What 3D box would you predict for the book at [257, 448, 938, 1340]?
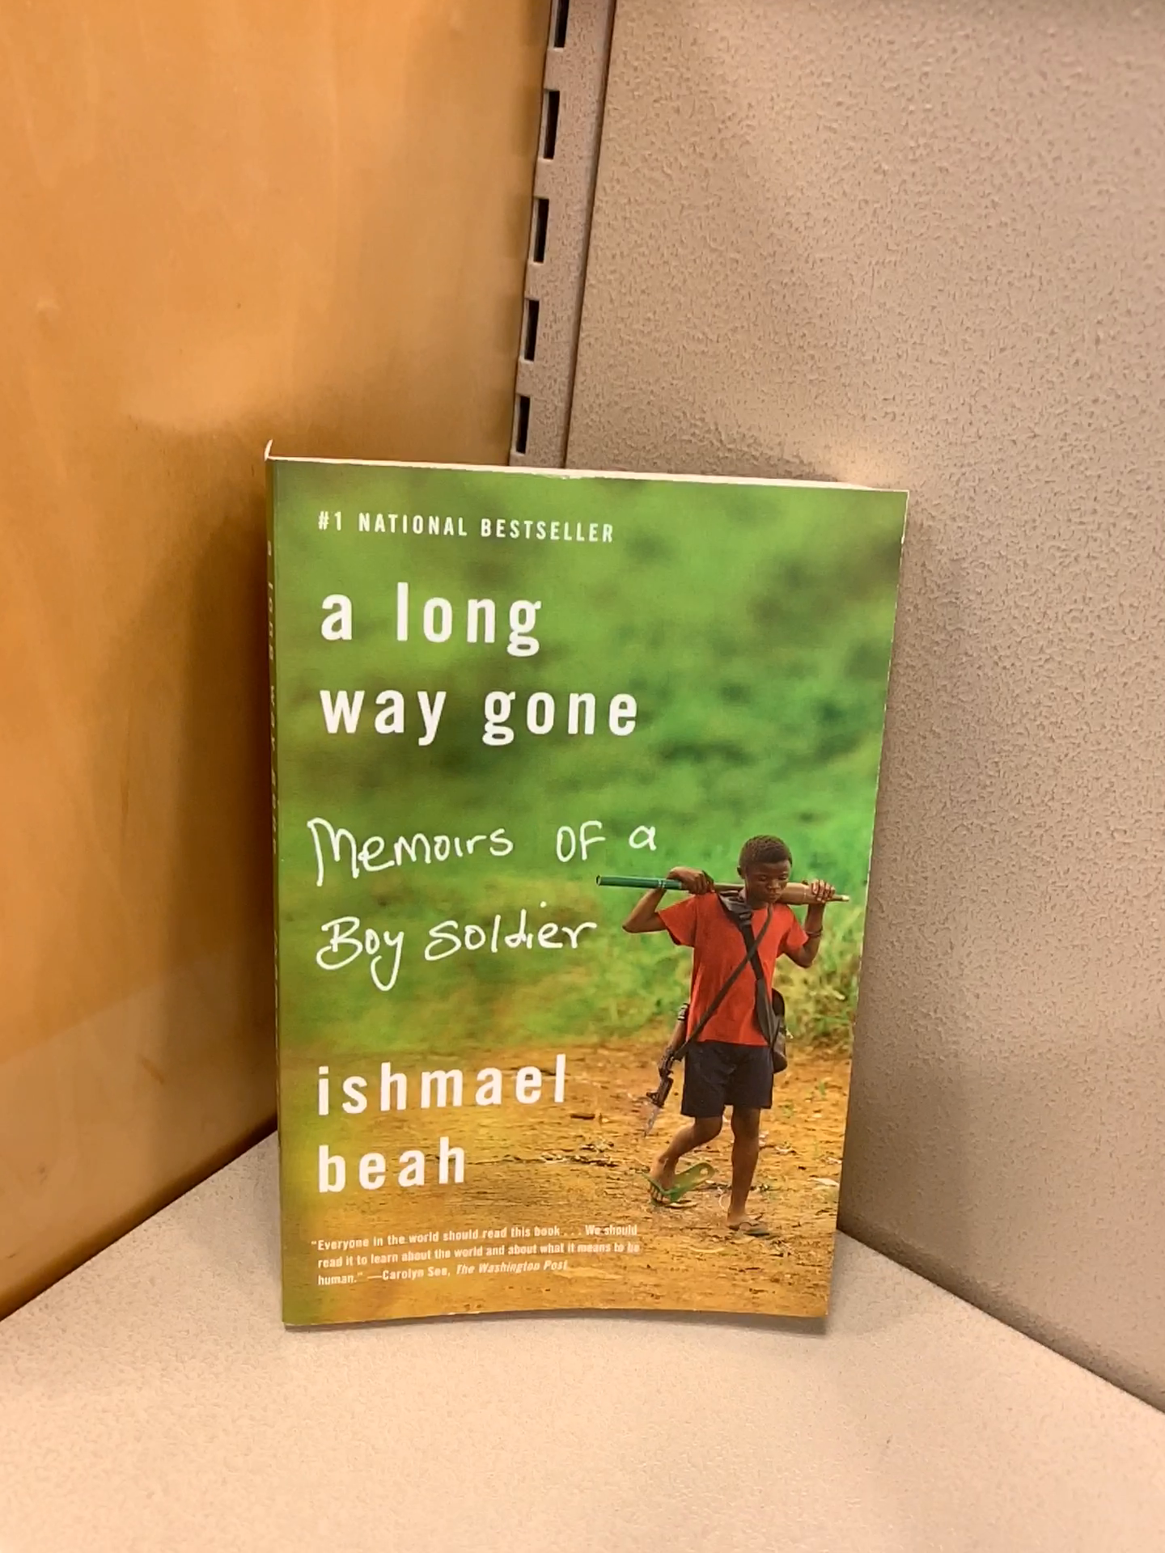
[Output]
[{"bbox_3d":[-0.002,0.035,0.283,0.140,0.209,0.020,2,15,-5],"label":"book"}]
